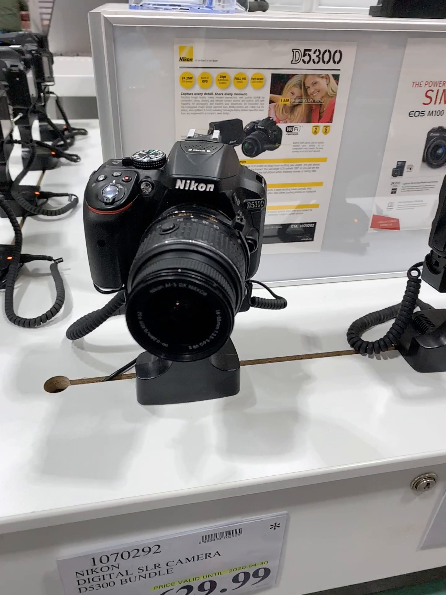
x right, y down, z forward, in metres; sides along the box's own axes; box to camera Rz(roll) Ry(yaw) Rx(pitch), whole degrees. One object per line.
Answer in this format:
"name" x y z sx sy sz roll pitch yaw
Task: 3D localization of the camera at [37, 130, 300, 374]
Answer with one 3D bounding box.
"camera" -0.026 -0.040 0.300 0.120 0.099 0.151 1 32 -1
